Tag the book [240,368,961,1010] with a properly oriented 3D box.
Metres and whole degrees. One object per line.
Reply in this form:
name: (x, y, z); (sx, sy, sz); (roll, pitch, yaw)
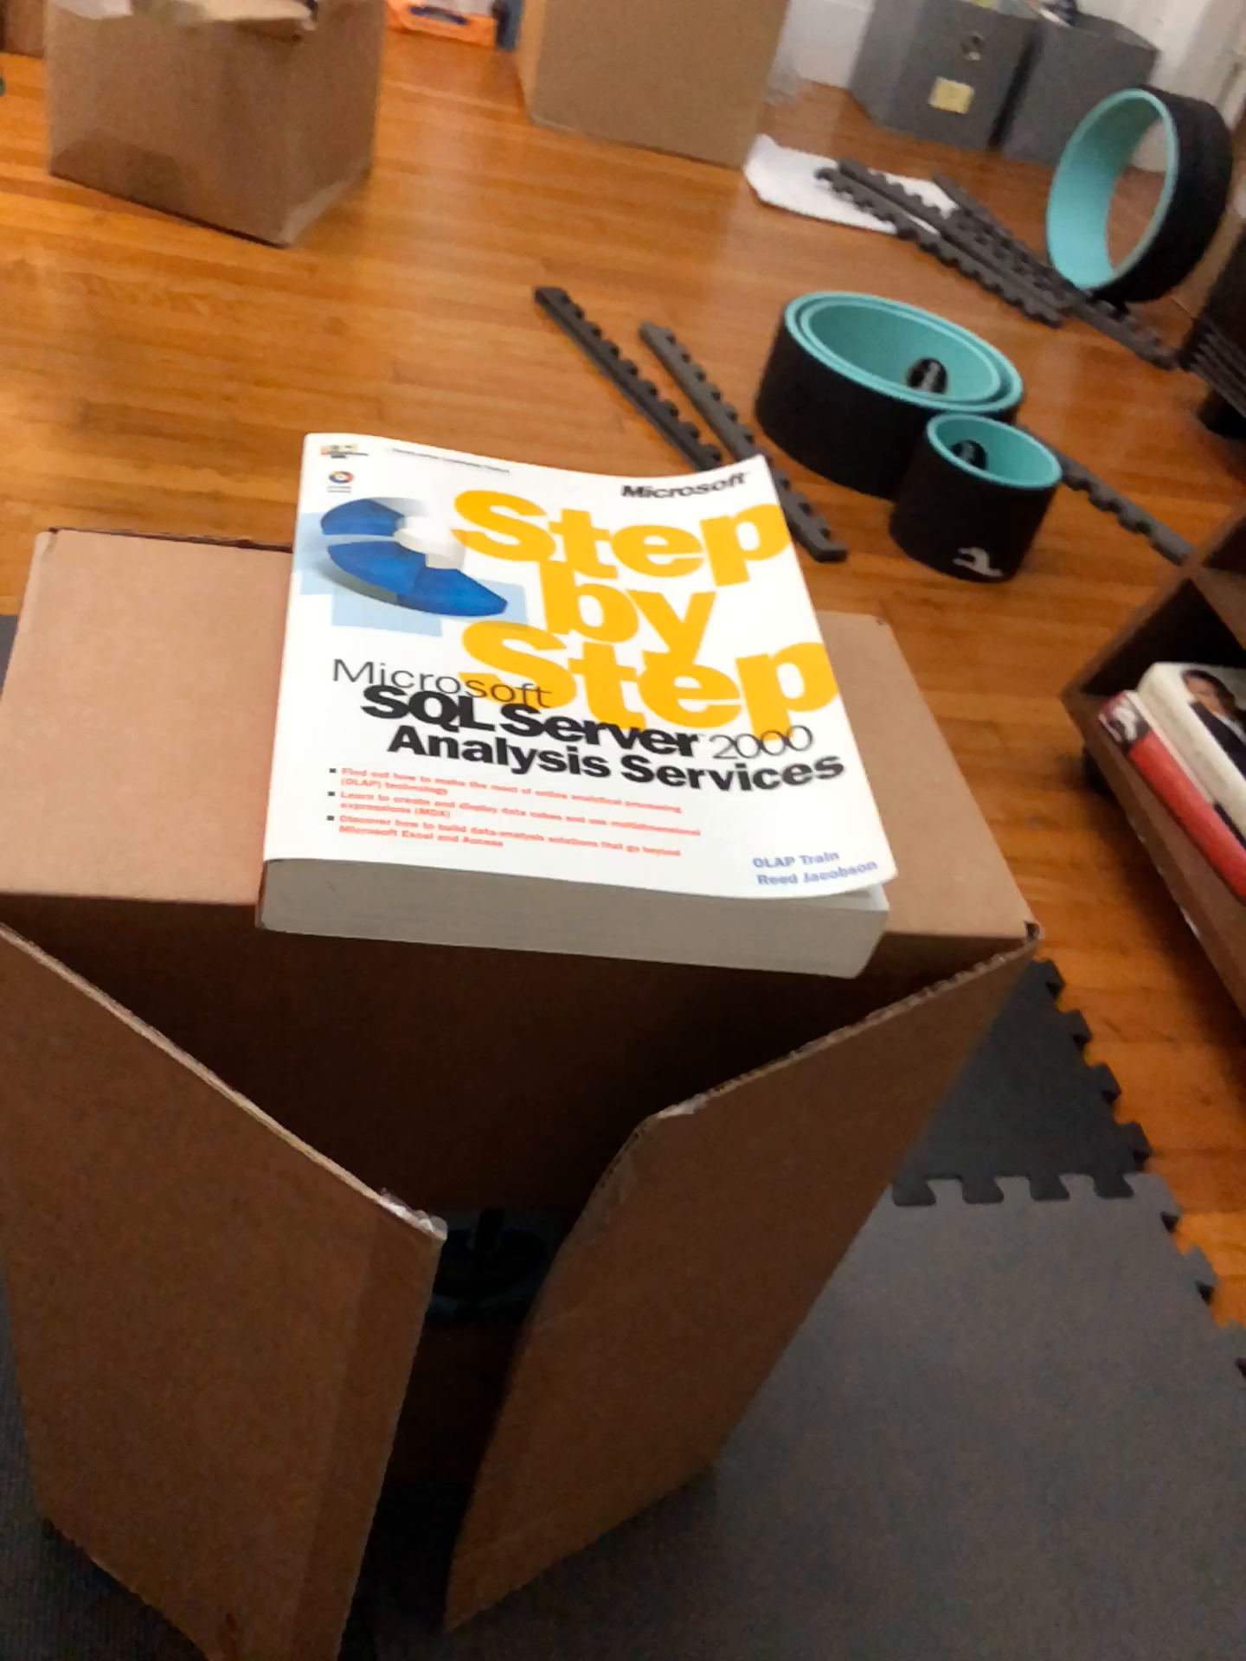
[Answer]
book: (-0.020, -0.057, 0.472); (0.200, 0.050, 0.241); (6, 44, -18)
